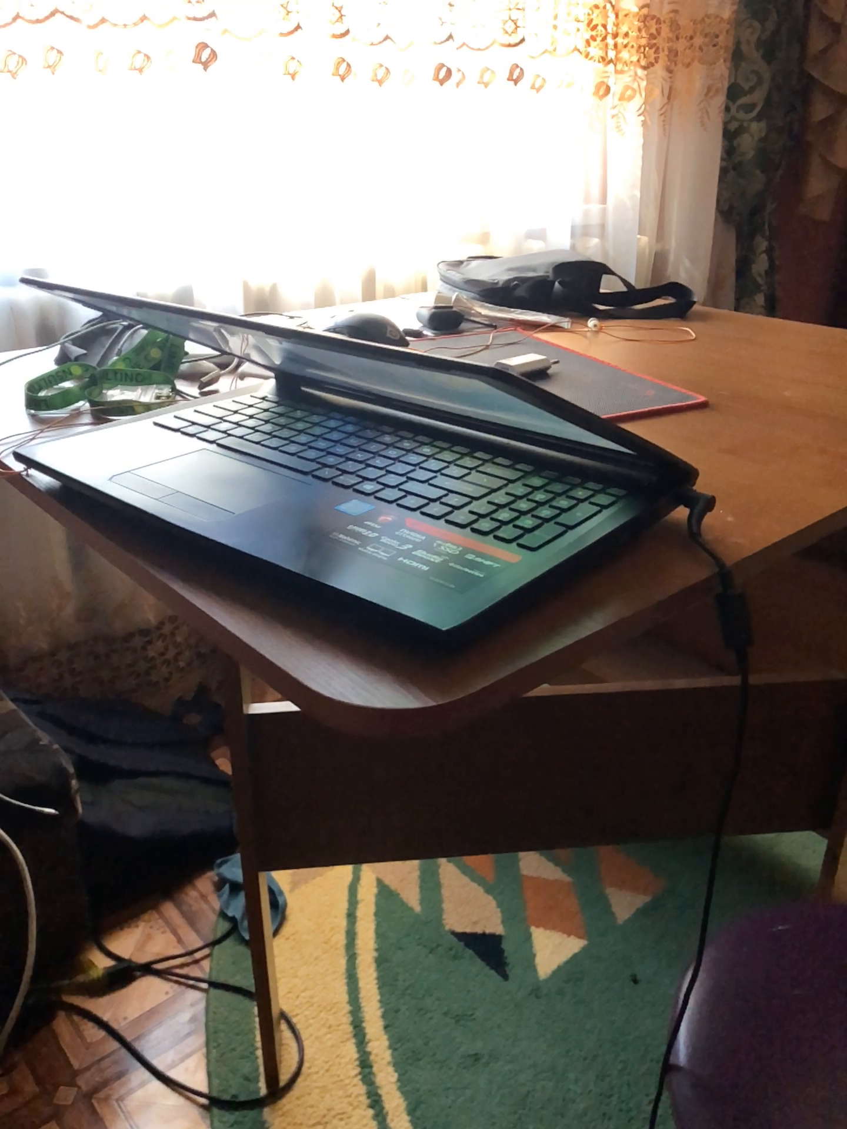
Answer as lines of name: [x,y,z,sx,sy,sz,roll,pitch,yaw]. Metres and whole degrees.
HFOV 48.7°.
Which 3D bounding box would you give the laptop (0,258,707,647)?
laptop: [-0.056,-0.105,0.561,0.373,0.095,0.239,21,33,38]
